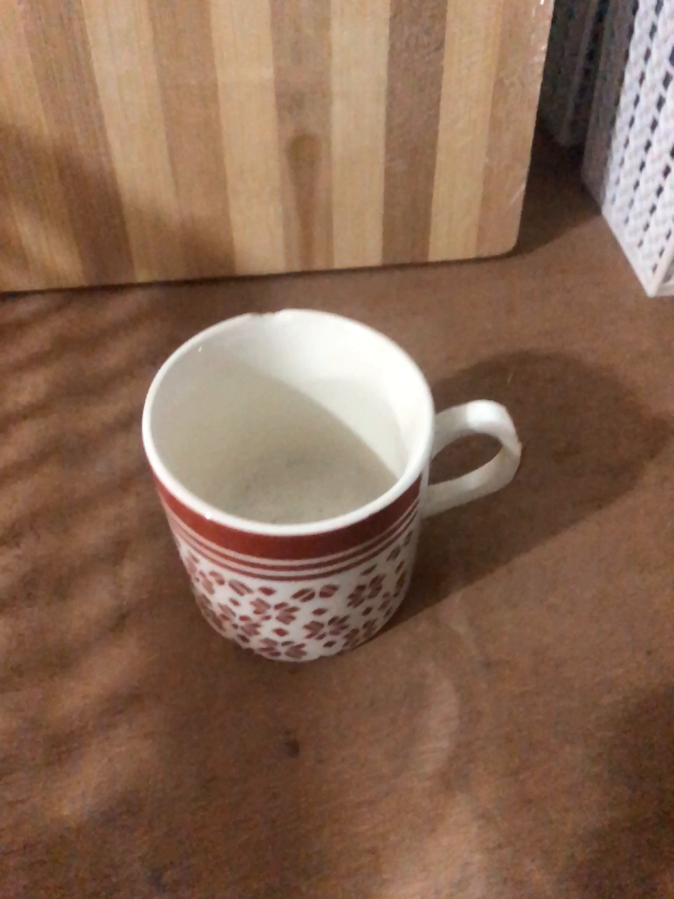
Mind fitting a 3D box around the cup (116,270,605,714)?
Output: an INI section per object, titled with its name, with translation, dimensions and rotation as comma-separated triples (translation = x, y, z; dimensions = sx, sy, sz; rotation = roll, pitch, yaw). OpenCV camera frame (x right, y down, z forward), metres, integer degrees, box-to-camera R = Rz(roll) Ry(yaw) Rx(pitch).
[cup]
translation = 0.002, 0.013, 0.192
dimensions = 0.090, 0.080, 0.060
rotation = -13, 55, -9
